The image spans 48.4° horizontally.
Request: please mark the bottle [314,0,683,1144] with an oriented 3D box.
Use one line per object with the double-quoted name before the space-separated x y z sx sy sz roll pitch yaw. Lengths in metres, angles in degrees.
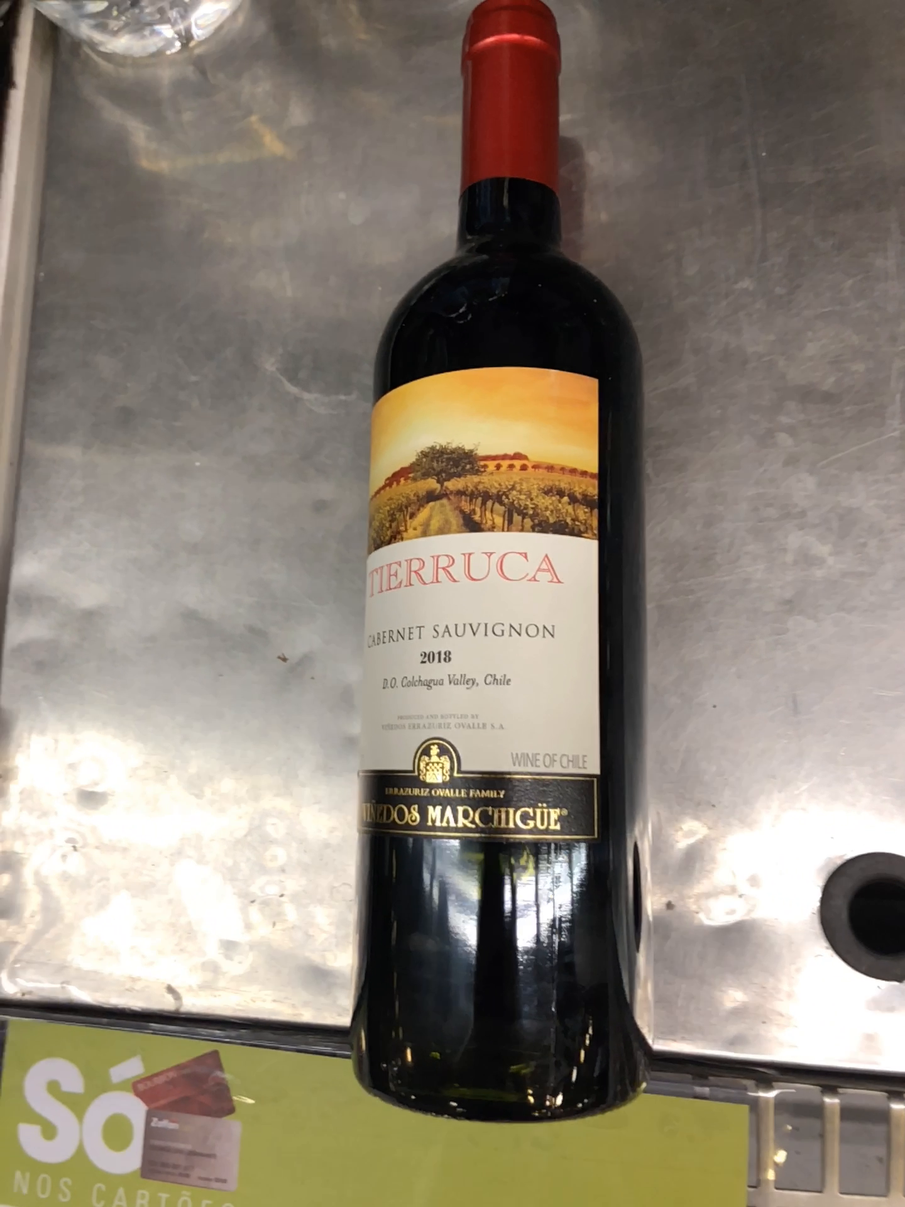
"bottle" 0.015 -0.037 0.263 0.080 0.050 0.310 -1 82 11
